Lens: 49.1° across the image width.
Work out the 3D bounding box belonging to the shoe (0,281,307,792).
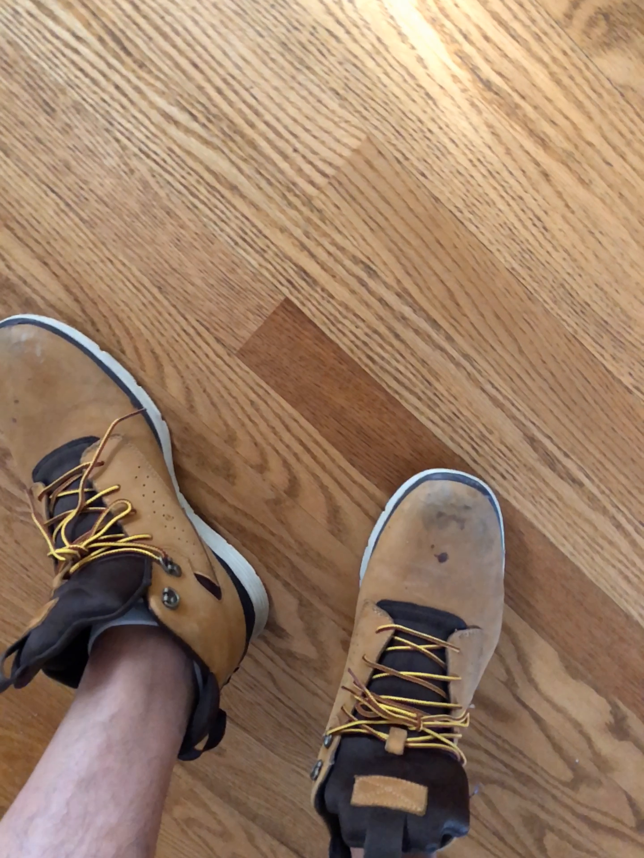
[{"bbox_3d":[-0.161,0.066,0.518,0.130,0.140,0.320,-29,94,16],"label":"shoe"}]

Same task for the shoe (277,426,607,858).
[{"bbox_3d":[0.068,0.181,0.495,0.130,0.170,0.301,12,122,5],"label":"shoe"}]
